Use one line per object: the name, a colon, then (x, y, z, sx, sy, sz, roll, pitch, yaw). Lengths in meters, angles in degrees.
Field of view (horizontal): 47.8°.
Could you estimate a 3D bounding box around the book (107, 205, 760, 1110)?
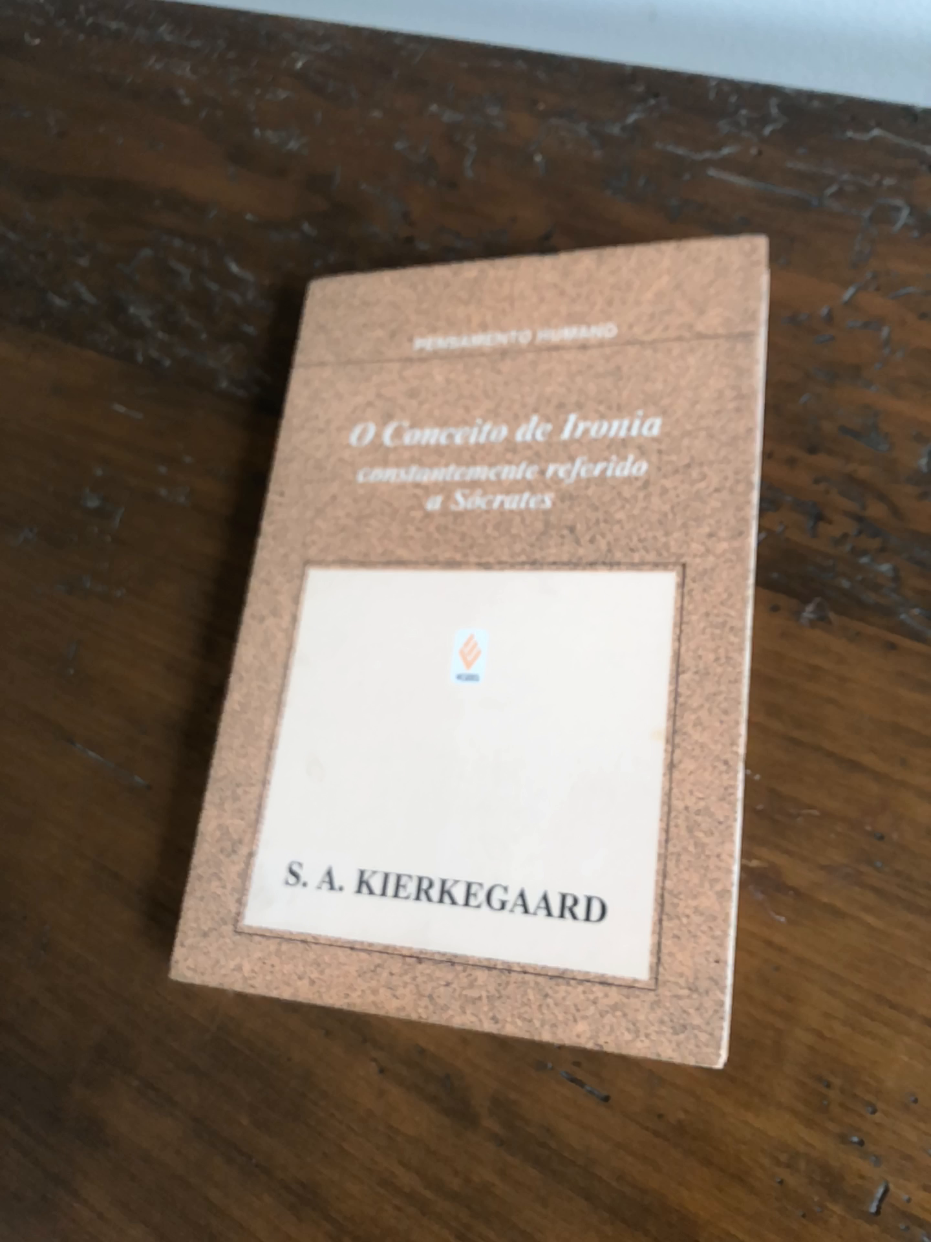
book: (-0.002, -0.004, 0.279, 0.144, 0.024, 0.220, 2, 72, 19)
